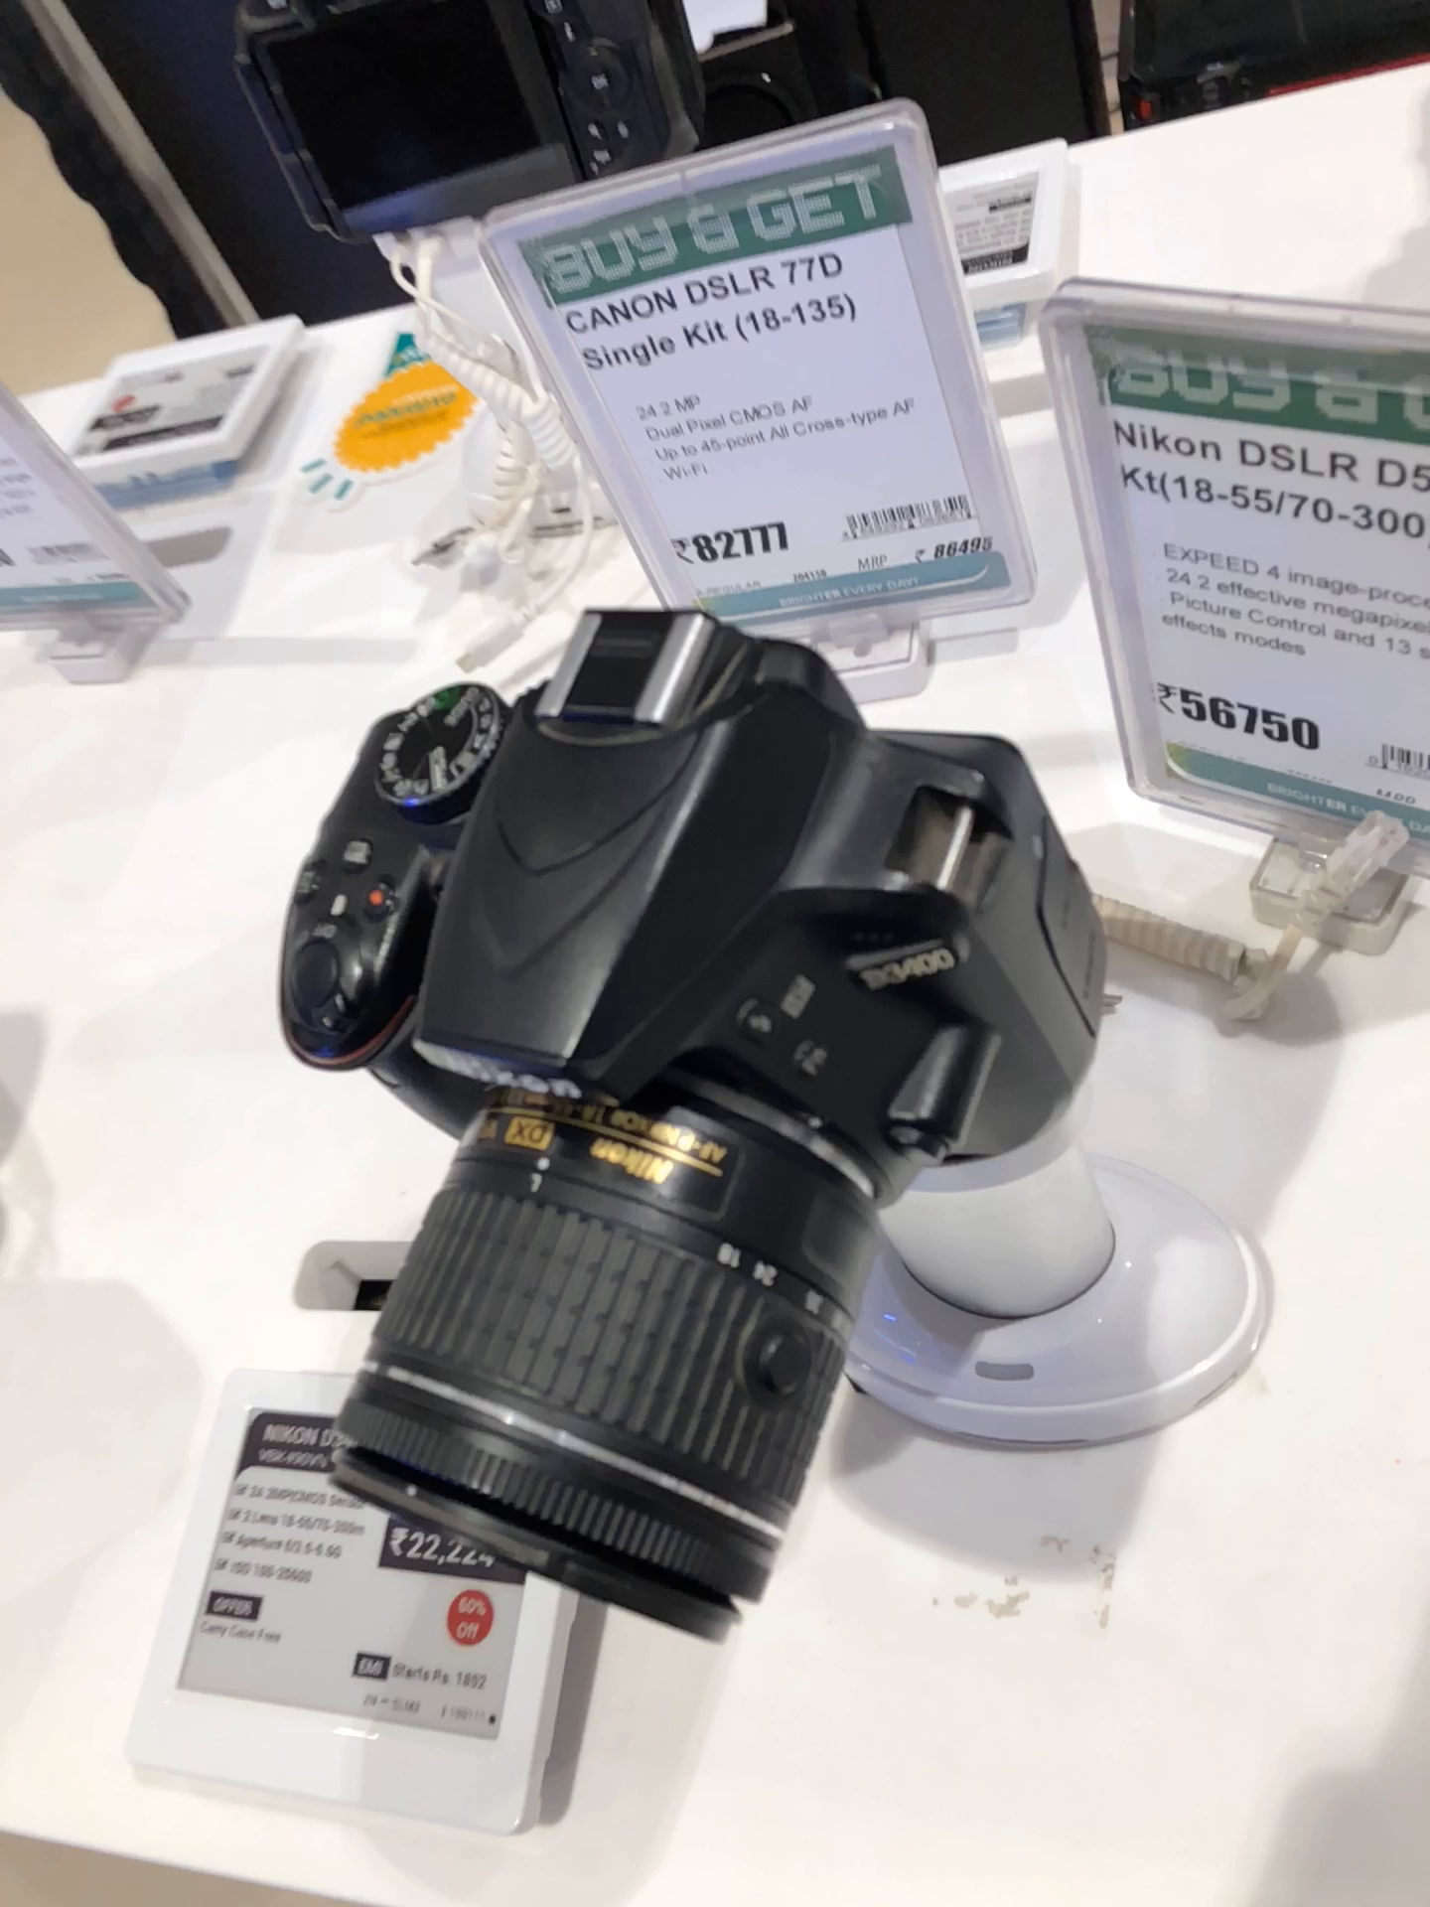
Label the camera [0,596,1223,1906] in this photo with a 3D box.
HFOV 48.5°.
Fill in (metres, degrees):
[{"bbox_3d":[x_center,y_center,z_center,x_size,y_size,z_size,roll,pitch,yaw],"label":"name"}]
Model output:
[{"bbox_3d":[-0.017,0.030,0.208,0.130,0.089,0.120,8,61,28],"label":"camera"}]
